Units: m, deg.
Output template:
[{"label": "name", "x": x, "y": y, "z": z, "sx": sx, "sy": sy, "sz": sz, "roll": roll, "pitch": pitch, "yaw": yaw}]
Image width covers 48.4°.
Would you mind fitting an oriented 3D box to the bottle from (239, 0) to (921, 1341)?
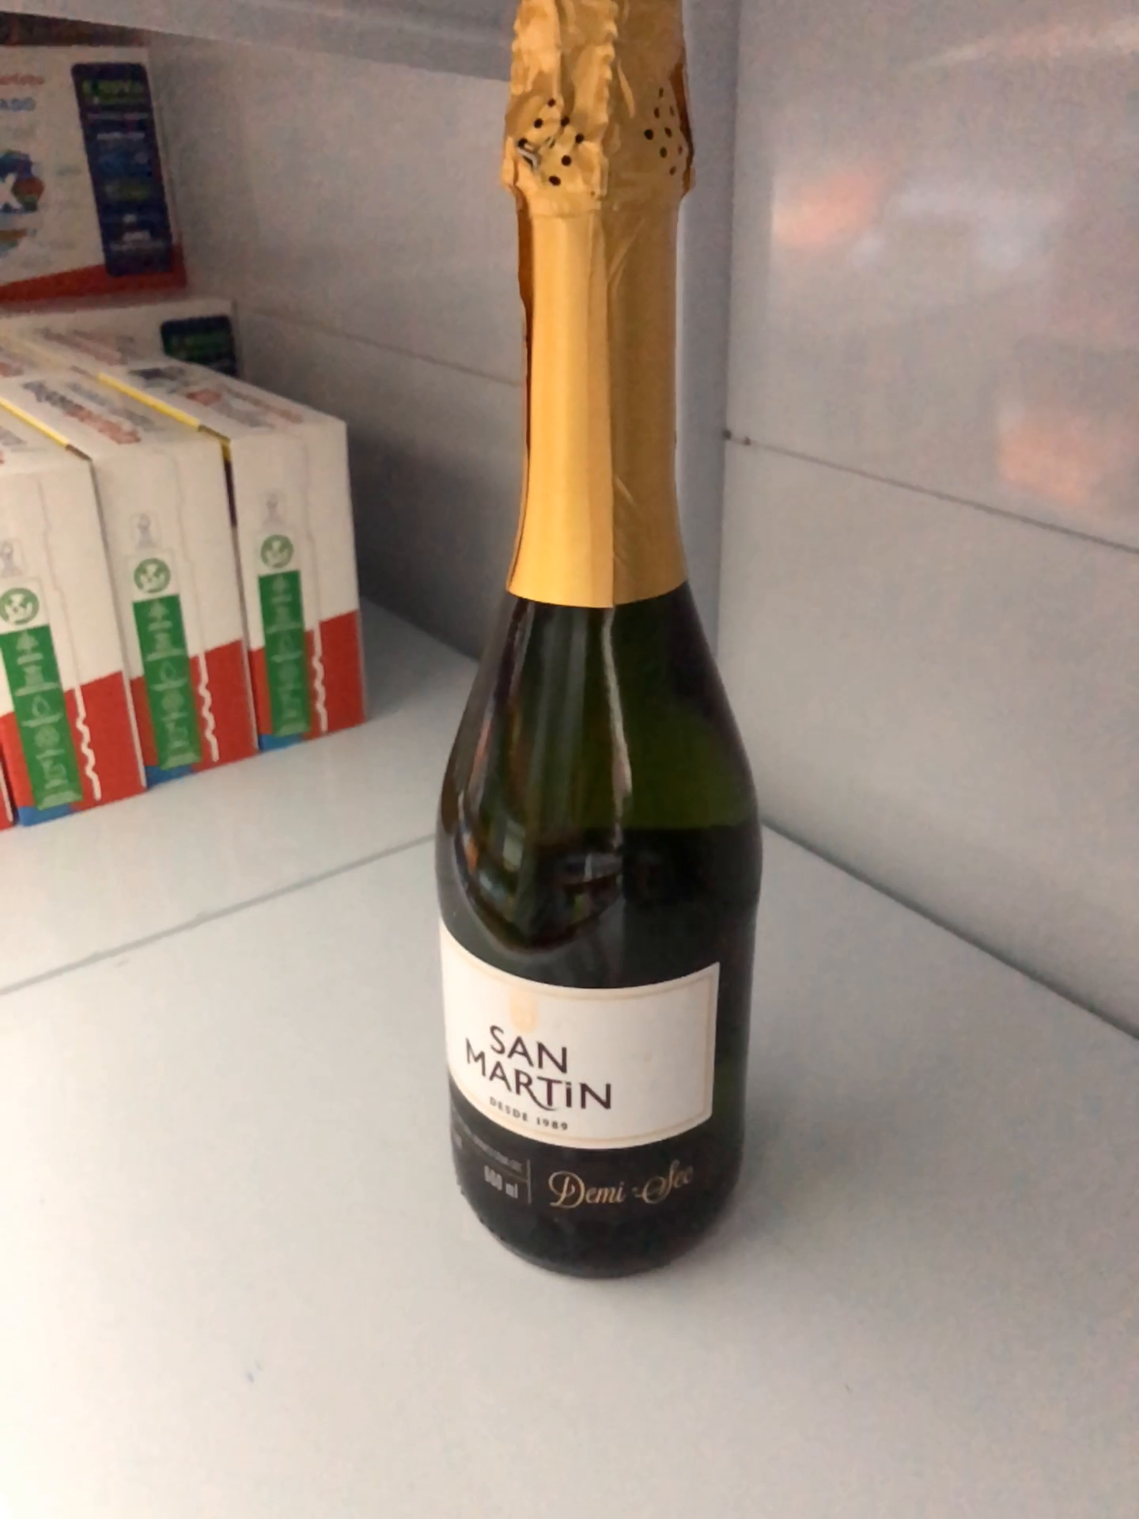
[{"label": "bottle", "x": 0.008, "y": -0.022, "z": 0.288, "sx": 0.090, "sy": 0.308, "sz": 0.081, "roll": 13, "pitch": 30, "yaw": 26}]
